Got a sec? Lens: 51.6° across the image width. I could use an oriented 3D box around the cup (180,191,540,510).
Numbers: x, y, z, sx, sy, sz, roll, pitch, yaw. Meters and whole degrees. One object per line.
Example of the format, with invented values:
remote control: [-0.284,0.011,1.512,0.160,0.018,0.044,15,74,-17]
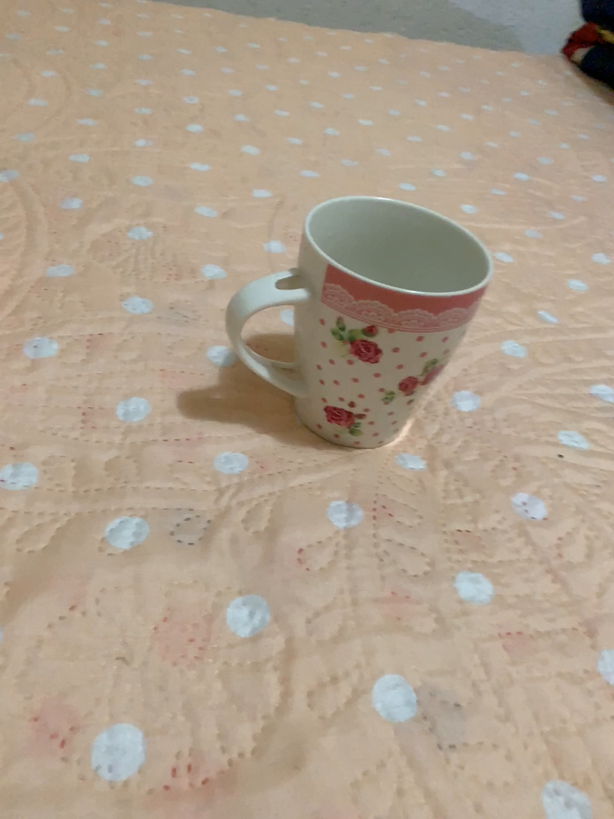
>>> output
cup: [0.014,-0.033,0.295,0.120,0.099,0.090,-10,46,-24]
